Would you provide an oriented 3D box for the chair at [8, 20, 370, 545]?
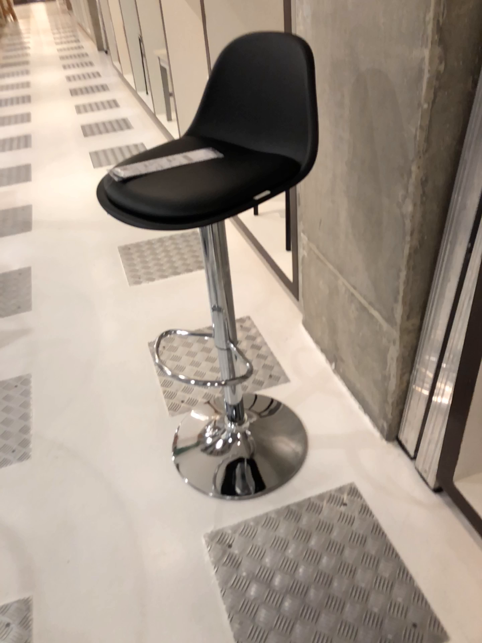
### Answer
[{"bbox_3d":[-0.060,-0.071,1.204,0.472,1.012,0.432,-29,41,-29],"label":"chair"}]
